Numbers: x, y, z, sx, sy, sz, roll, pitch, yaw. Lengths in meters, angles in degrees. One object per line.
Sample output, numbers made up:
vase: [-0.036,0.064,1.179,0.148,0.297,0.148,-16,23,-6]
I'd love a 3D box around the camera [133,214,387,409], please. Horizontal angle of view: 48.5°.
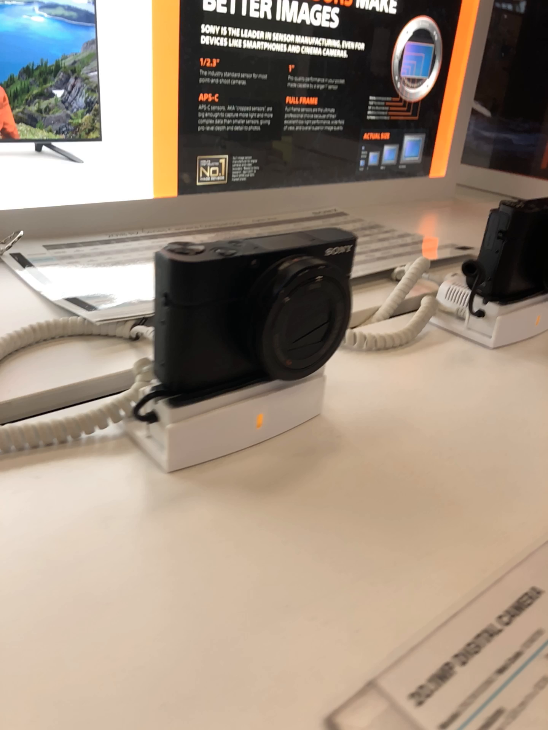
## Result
camera: [-0.004,-0.030,0.276,0.110,0.060,0.040,-17,33,-38]
